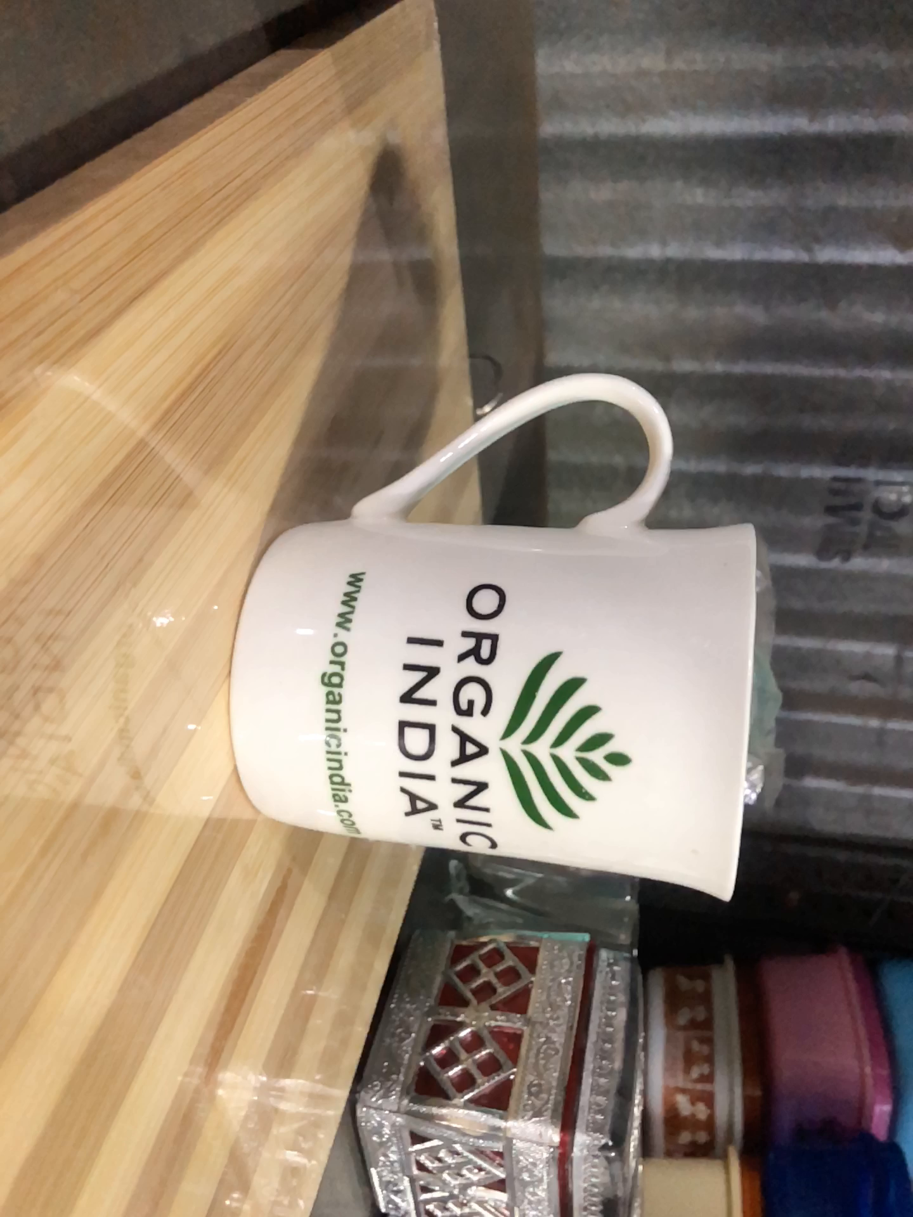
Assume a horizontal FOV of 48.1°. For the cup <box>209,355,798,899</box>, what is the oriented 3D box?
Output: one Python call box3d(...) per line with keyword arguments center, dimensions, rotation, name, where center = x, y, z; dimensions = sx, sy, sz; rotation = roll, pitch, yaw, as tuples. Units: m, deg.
box3d(center=(0.012, -0.003, 0.232), dimensions=(0.070, 0.110, 0.100), rotation=(-44, 137, -73), name="cup")
